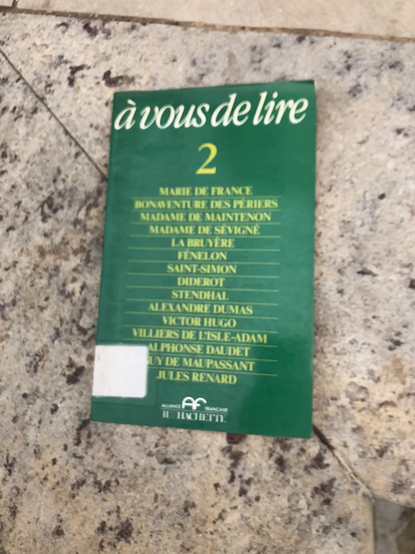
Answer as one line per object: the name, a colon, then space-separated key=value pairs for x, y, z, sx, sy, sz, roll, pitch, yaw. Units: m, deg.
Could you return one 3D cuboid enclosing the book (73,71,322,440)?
book: x=-0.004 y=-0.018 z=0.284 sx=0.140 sy=0.017 sz=0.210 roll=1 pitch=81 yaw=12
